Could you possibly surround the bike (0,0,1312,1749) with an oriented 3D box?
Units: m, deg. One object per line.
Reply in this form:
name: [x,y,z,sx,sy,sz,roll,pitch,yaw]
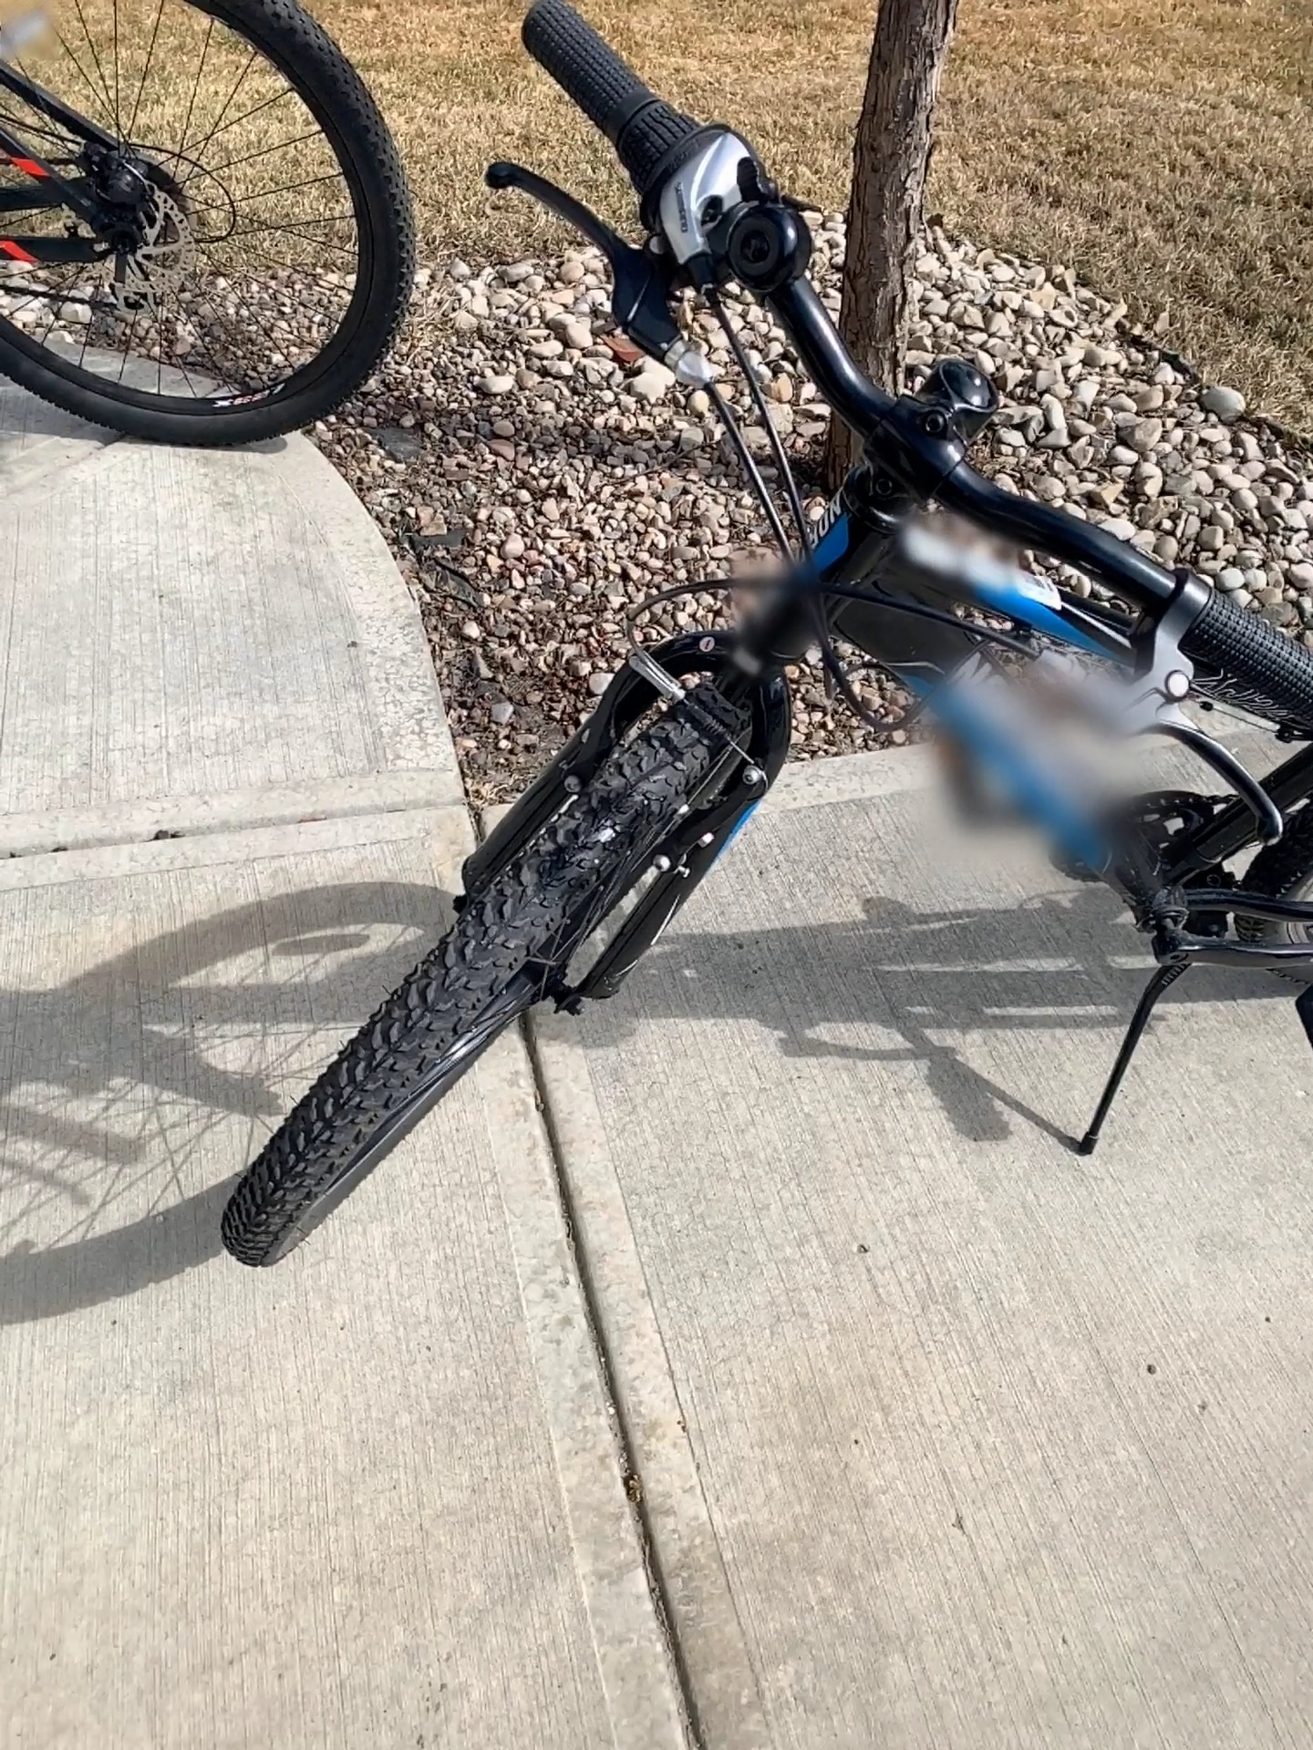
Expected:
bike: [0.385,0.034,0.911,1.389,0.886,0.516,-13,50,-7]
